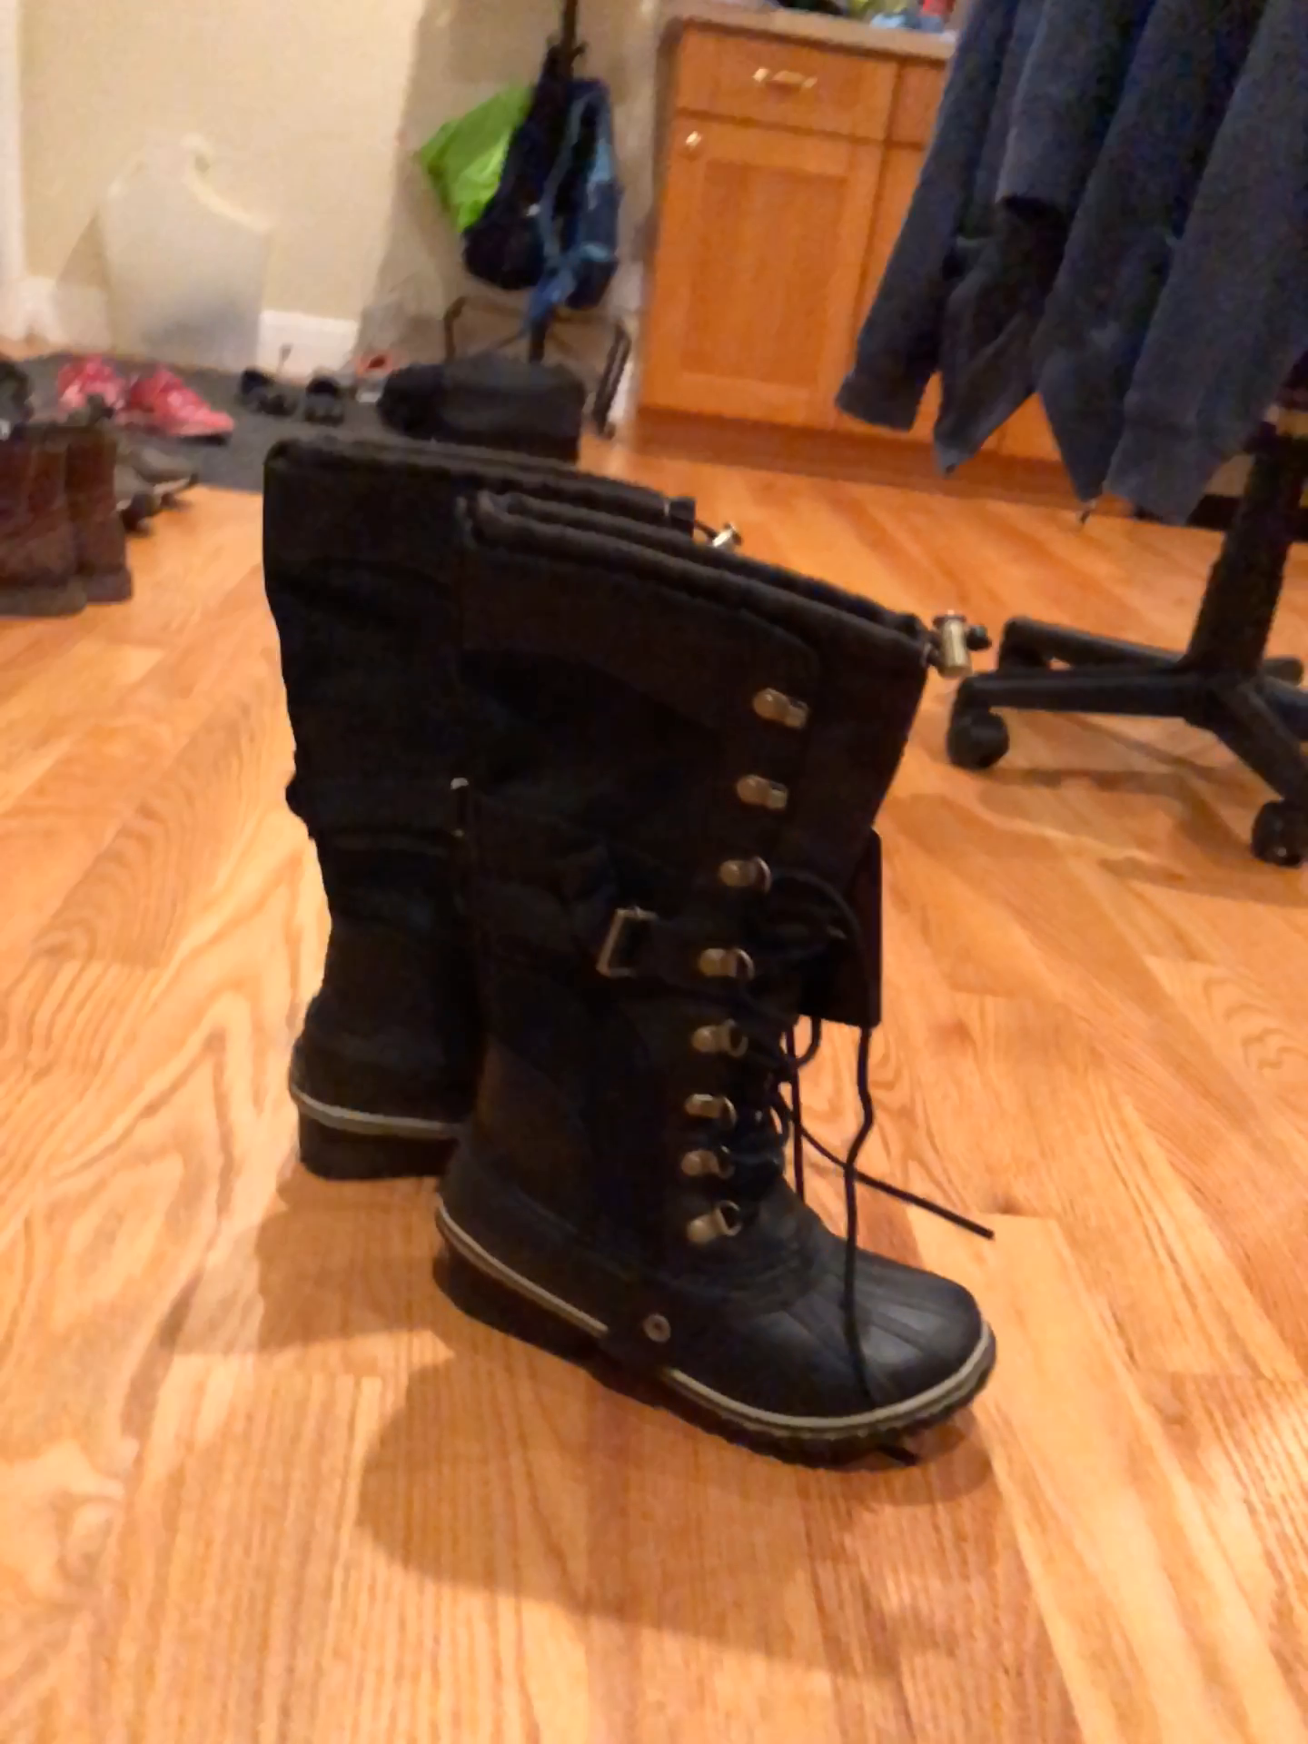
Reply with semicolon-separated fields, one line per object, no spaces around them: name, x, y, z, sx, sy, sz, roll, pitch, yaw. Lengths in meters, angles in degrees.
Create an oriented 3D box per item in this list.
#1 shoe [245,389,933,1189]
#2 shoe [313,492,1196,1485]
shoe;-0.046;-0.028;0.654;0.260;0.328;0.100;2;23;-16
shoe;0.021;0.041;0.541;0.260;0.308;0.101;12;23;9
